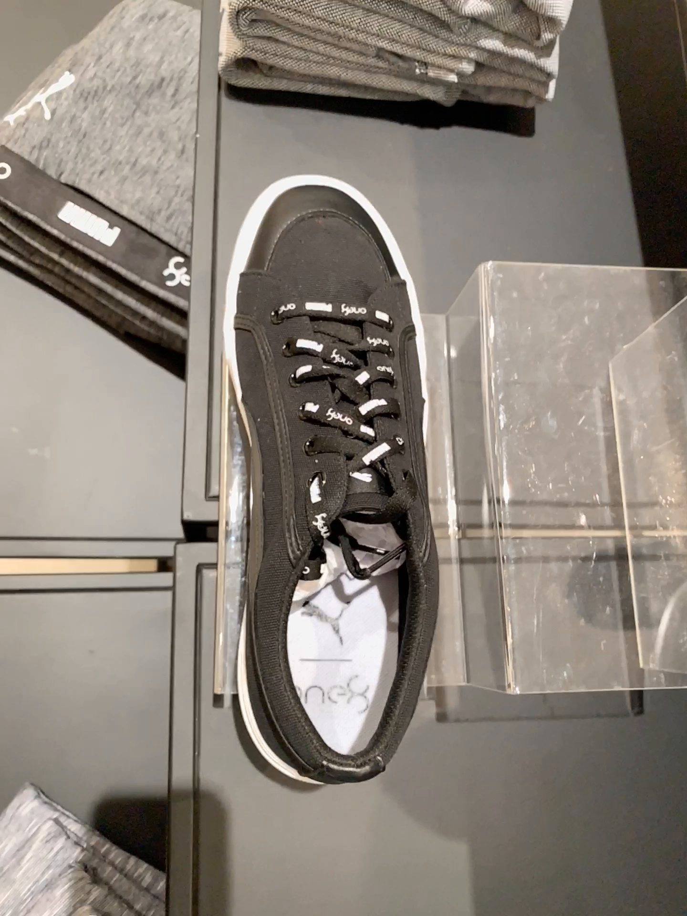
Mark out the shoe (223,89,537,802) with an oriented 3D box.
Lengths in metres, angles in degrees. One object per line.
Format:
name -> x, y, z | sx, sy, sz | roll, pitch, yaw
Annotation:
shoe -> 0.005, -0.009, 0.328 | 0.110, 0.100, 0.280 | 2, 76, -10
